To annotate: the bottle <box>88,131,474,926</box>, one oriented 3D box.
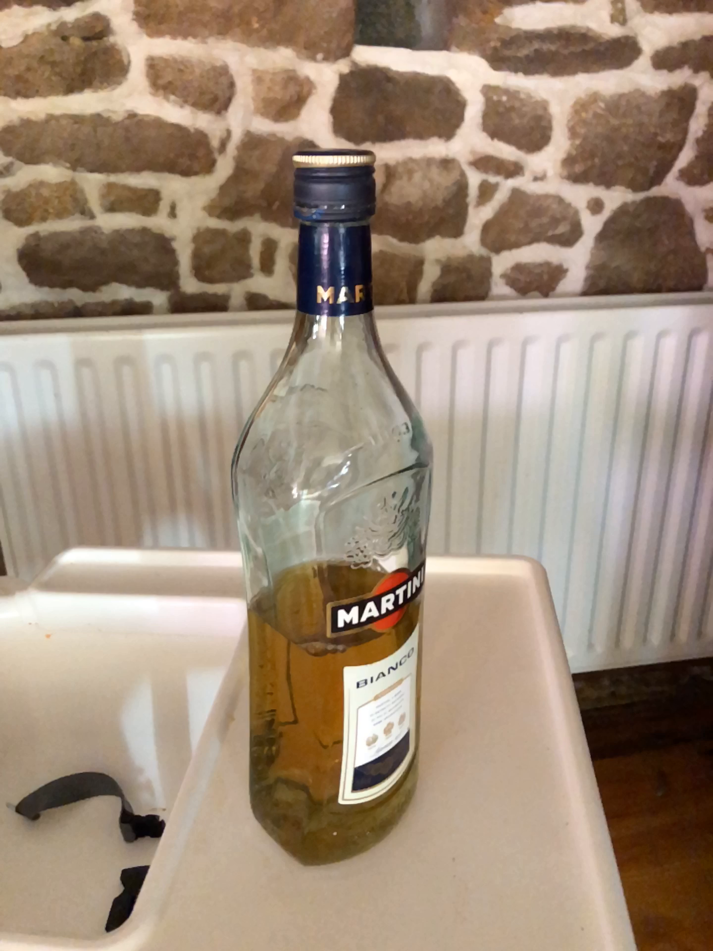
[{"bbox_3d":[-0.021,0.025,0.343,0.111,0.318,0.080,-21,31,-36],"label":"bottle"}]
